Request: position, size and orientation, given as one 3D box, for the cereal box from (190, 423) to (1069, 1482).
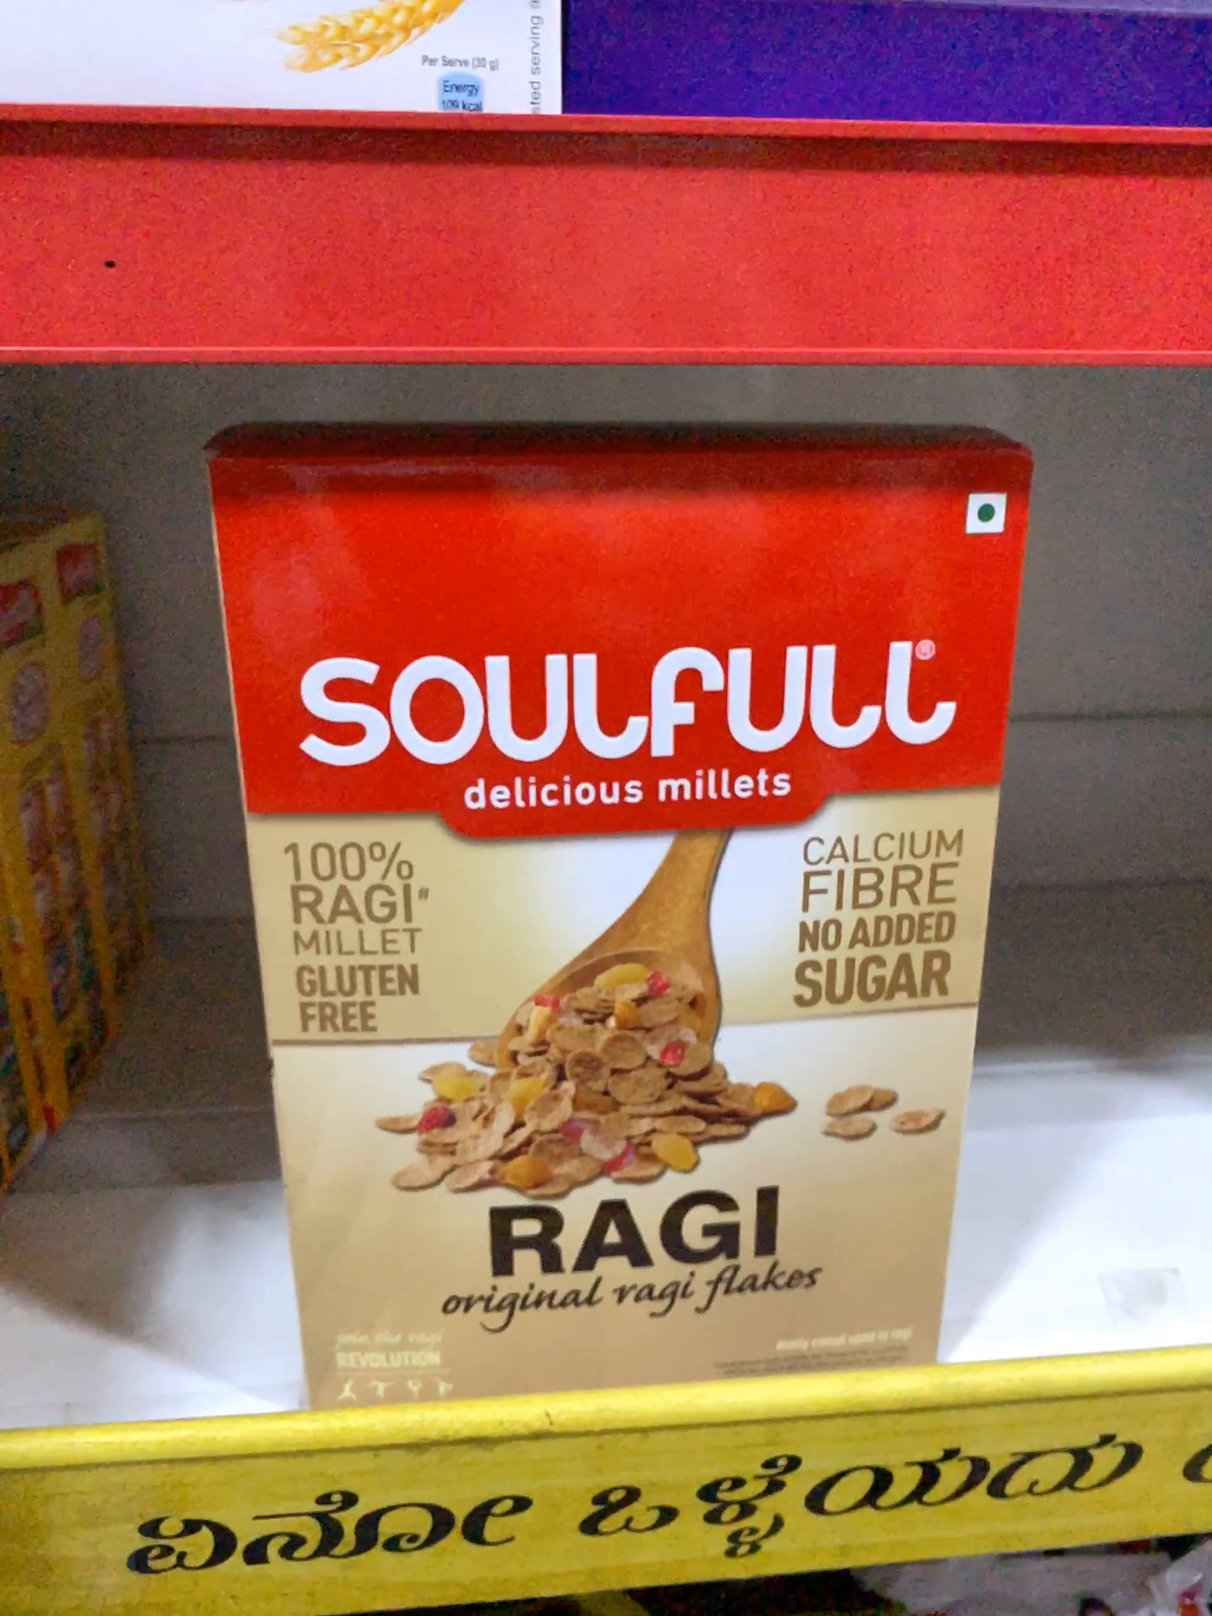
[{"bbox_3d":[0.004,0.037,0.313,0.170,0.248,0.060,-2,20,-7],"label":"cereal box"}]
